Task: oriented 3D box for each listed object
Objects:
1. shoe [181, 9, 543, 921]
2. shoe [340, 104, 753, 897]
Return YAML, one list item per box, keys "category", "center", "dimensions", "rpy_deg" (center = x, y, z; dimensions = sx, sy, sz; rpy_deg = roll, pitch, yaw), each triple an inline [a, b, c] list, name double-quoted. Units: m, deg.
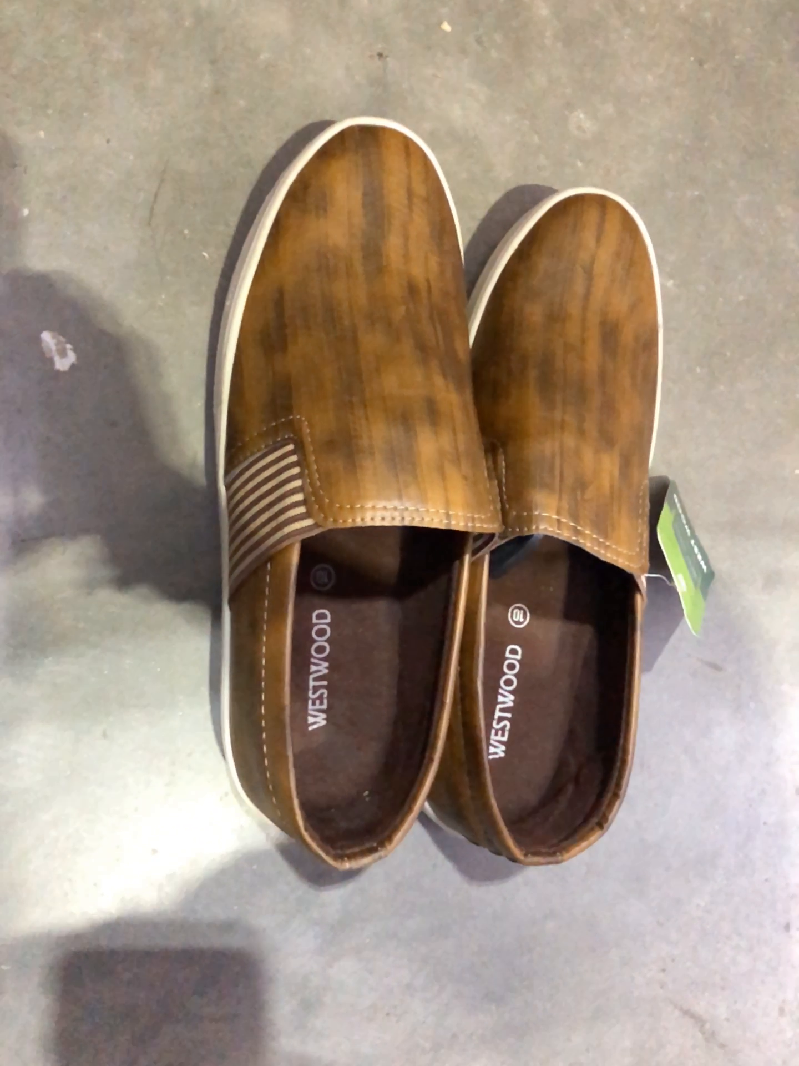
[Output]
- category: "shoe"
  center: [-0.019, -0.021, 0.342]
  dimensions: [0.100, 0.100, 0.290]
  rpy_deg: [4, 86, -18]
- category: "shoe"
  center: [0.060, -0.009, 0.387]
  dimensions: [0.110, 0.100, 0.290]
  rpy_deg: [10, 84, -17]
